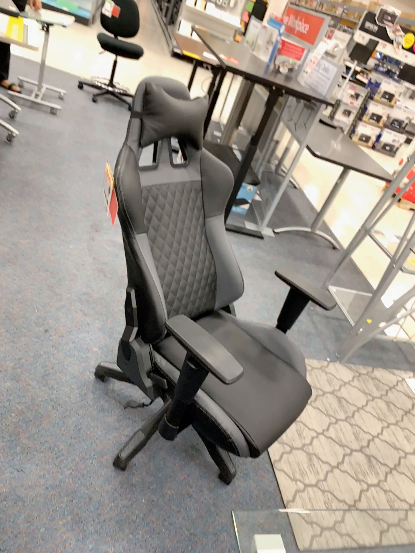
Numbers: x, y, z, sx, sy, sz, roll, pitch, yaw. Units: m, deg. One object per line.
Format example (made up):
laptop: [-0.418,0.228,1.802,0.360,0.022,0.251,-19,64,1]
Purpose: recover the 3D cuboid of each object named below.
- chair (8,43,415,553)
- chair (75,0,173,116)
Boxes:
chair: [0.018,0.027,1.402,0.912,1.061,0.789,38,35,22]
chair: [-0.923,-2.390,4.438,0.676,0.982,0.874,6,36,-26]
